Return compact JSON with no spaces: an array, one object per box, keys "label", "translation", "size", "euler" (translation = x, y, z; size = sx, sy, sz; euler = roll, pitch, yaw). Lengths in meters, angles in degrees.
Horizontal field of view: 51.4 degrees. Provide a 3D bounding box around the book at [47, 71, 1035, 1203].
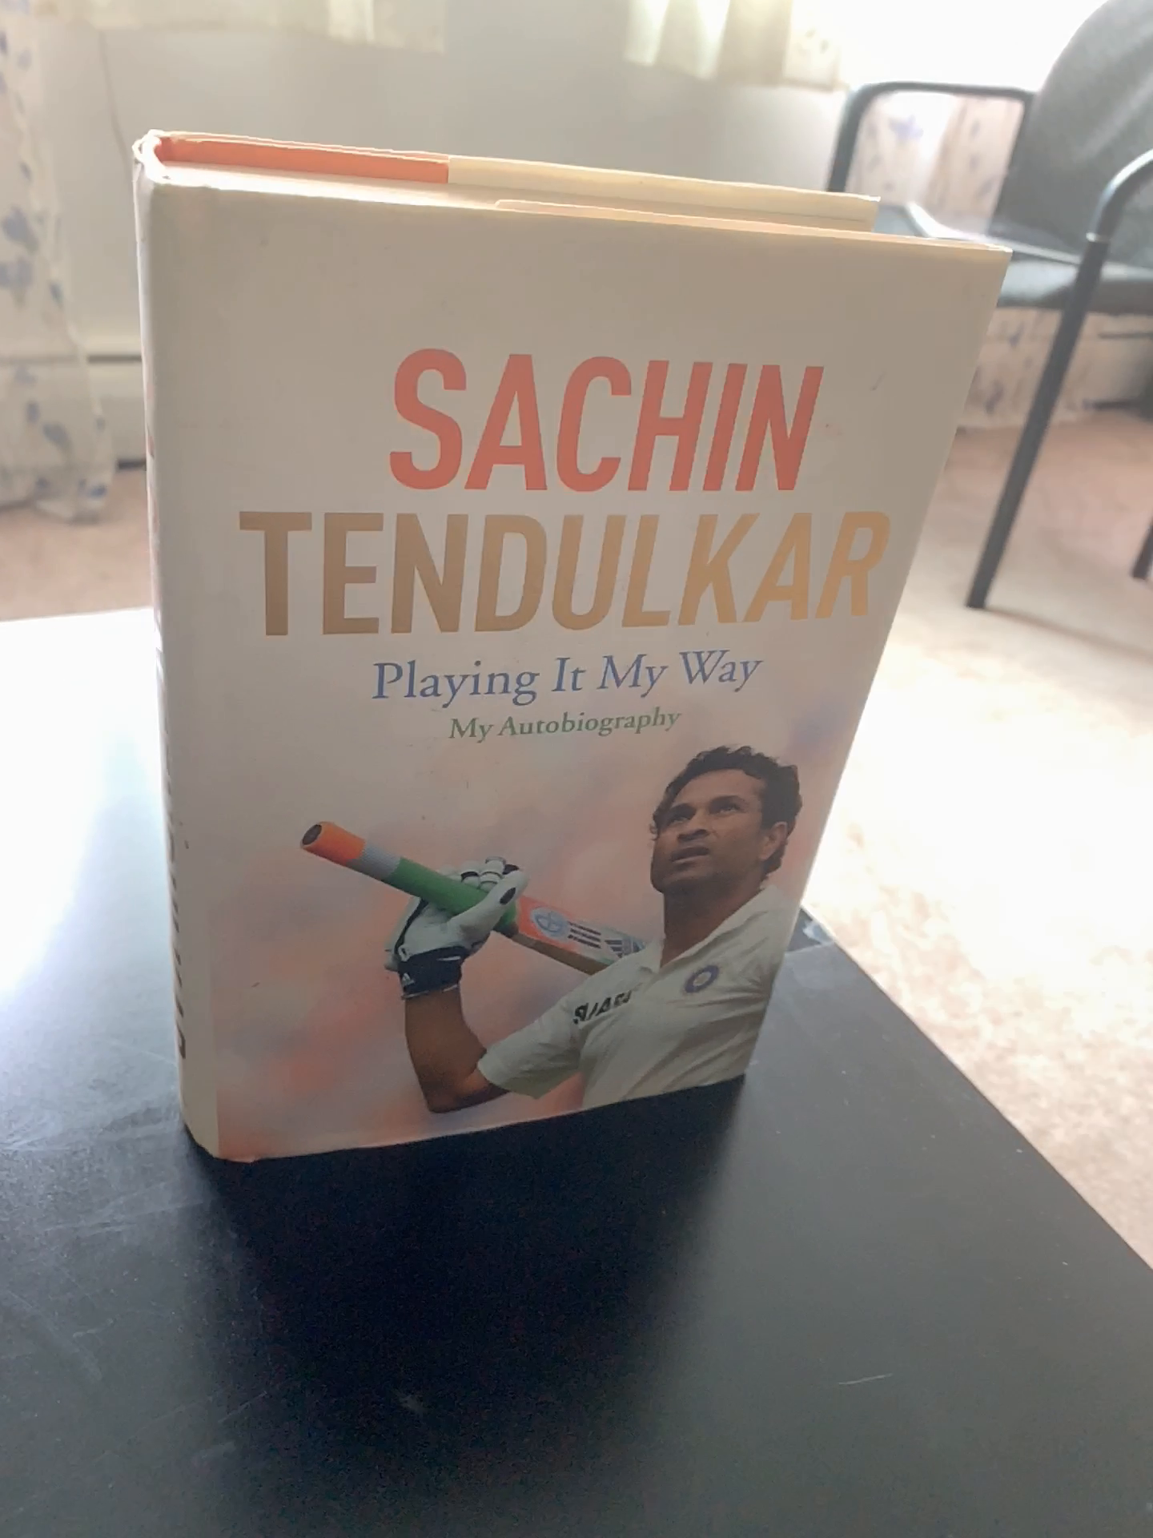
[{"label":"book","translation":[-0.018,-0.016,0.283],"size":[0.170,0.238,0.060],"euler":[-5,35,-20]}]
